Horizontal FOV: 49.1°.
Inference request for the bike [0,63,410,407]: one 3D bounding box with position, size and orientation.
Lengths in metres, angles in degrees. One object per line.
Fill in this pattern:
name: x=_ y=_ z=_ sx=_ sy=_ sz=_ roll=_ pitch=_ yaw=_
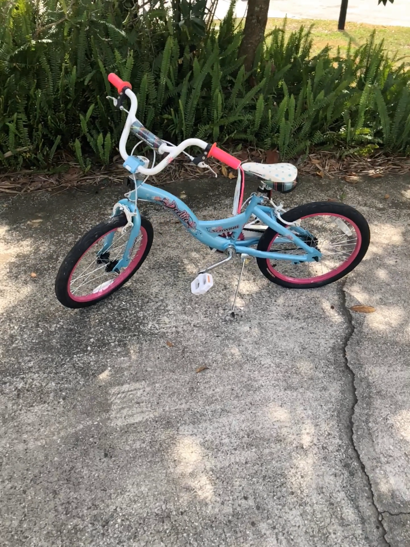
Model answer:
bike: x=0.075 y=-0.208 z=1.683 sx=1.309 sy=0.923 sz=0.703 roll=-7 pitch=36 yaw=-11
